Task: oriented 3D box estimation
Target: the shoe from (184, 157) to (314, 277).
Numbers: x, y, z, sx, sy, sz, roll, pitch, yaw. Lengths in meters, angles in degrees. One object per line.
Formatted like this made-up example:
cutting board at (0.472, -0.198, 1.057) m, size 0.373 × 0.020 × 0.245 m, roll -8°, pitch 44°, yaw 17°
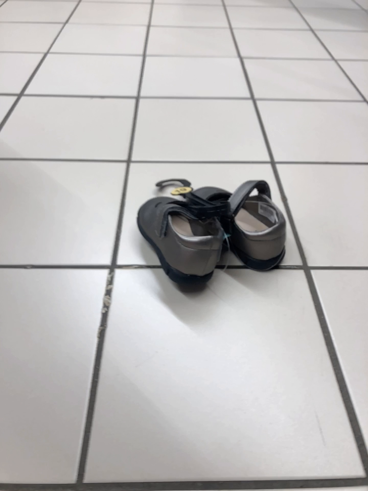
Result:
shoe at (0.063, -0.036, 0.439) m, size 0.059 × 0.047 × 0.134 m, roll -25°, pitch 49°, yaw -26°

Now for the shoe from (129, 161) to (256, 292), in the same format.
shoe at (0.001, -0.025, 0.412) m, size 0.068 × 0.061 × 0.129 m, roll -5°, pitch 42°, yaw -28°
